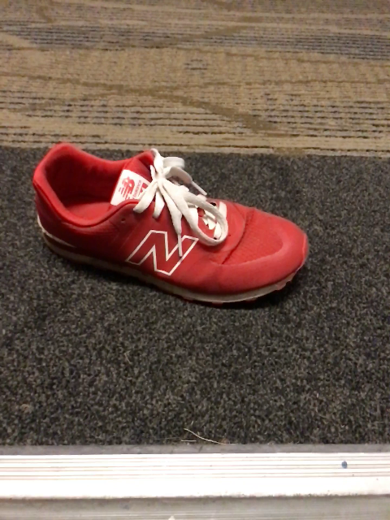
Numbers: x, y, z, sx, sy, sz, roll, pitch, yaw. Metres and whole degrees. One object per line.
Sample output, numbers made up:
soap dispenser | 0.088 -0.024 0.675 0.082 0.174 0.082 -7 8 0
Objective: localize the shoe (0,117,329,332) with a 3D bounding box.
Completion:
shoe | -0.024 -0.035 0.385 0.256 0.107 0.101 12 48 7
